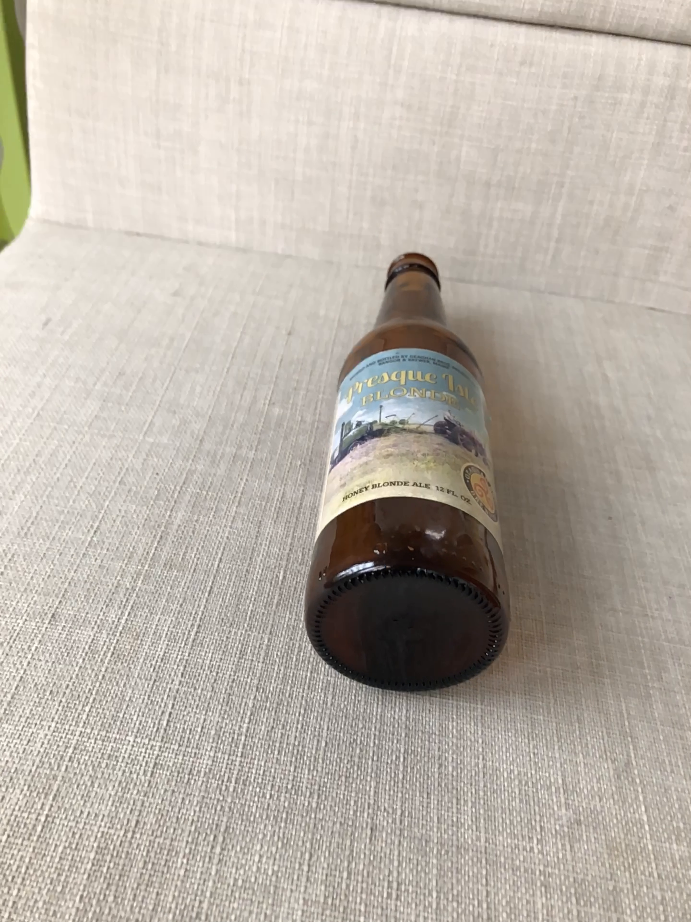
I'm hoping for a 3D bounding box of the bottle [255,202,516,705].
[{"bbox_3d":[0.023,-0.025,0.300,0.065,0.059,0.232,-1,39,8],"label":"bottle"}]
